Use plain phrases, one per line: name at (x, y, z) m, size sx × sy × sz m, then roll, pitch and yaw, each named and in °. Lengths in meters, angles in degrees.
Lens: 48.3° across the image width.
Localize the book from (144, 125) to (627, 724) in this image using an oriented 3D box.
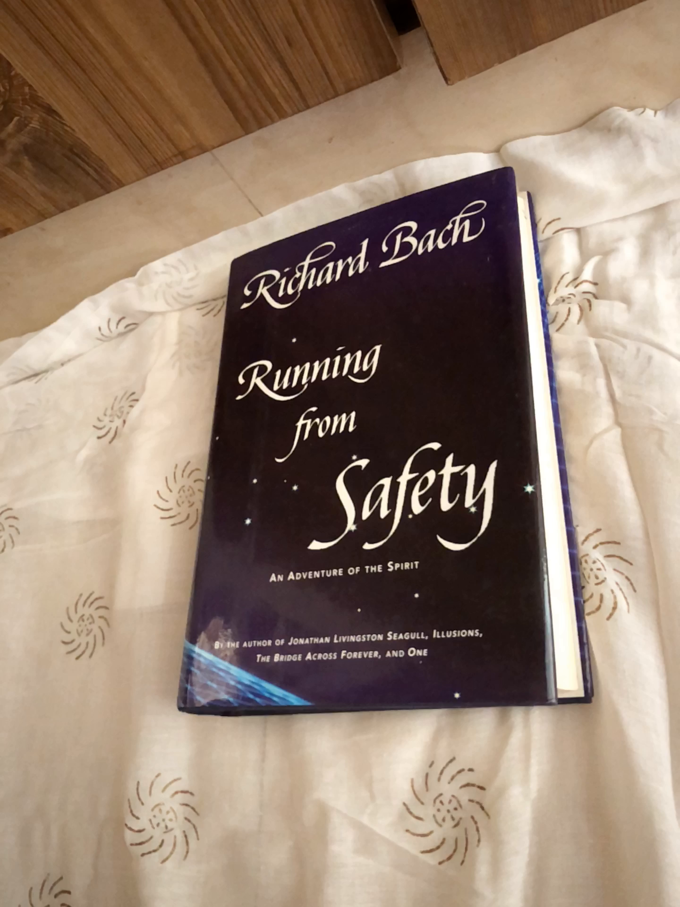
book at (0.016, -0.018, 0.332) m, size 0.170 × 0.040 × 0.250 m, roll -9°, pitch 60°, yaw 19°
